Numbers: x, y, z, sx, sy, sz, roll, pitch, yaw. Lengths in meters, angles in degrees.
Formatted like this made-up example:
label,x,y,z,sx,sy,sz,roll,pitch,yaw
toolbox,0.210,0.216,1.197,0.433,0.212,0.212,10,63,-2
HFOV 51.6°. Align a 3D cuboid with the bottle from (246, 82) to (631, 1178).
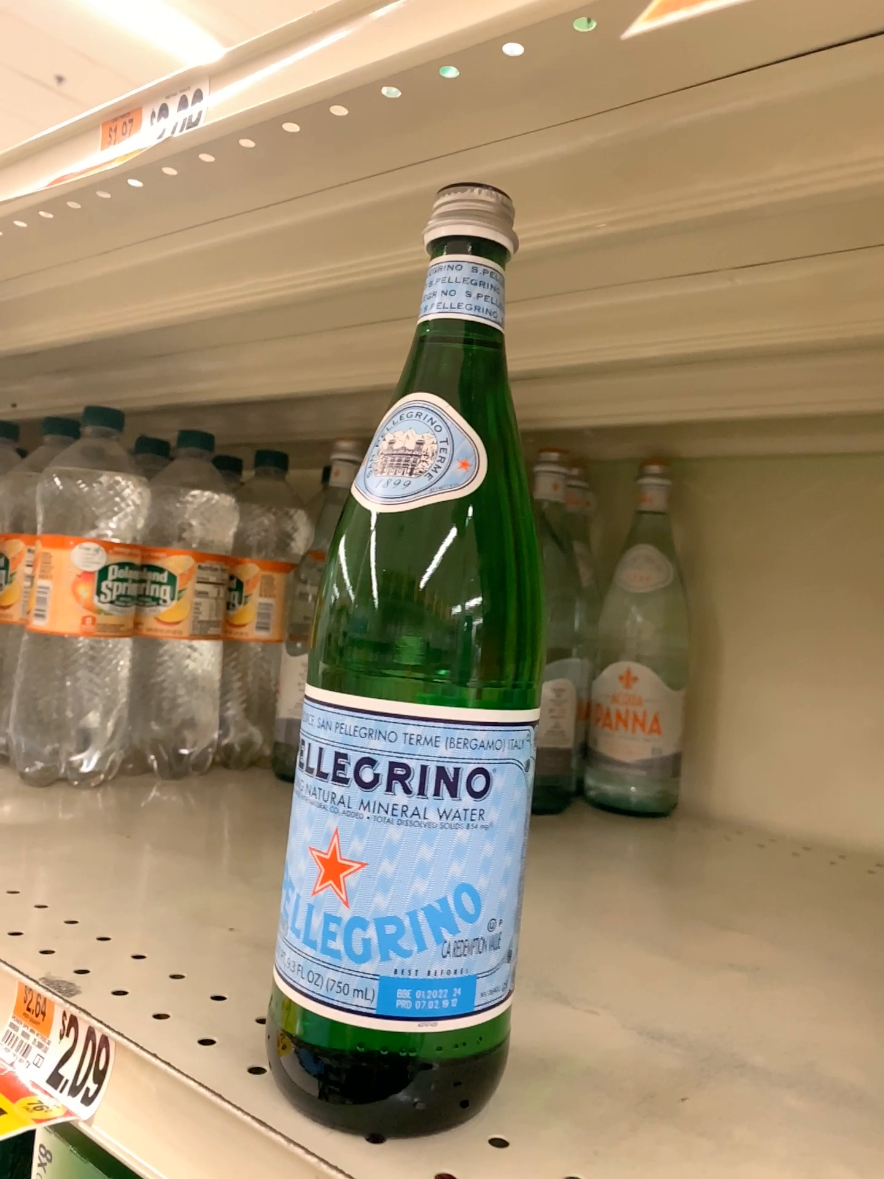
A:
label,x,y,z,sx,sy,sz,roll,pitch,yaw
bottle,-0.001,0.013,0.296,0.078,0.302,0.065,4,-1,44
